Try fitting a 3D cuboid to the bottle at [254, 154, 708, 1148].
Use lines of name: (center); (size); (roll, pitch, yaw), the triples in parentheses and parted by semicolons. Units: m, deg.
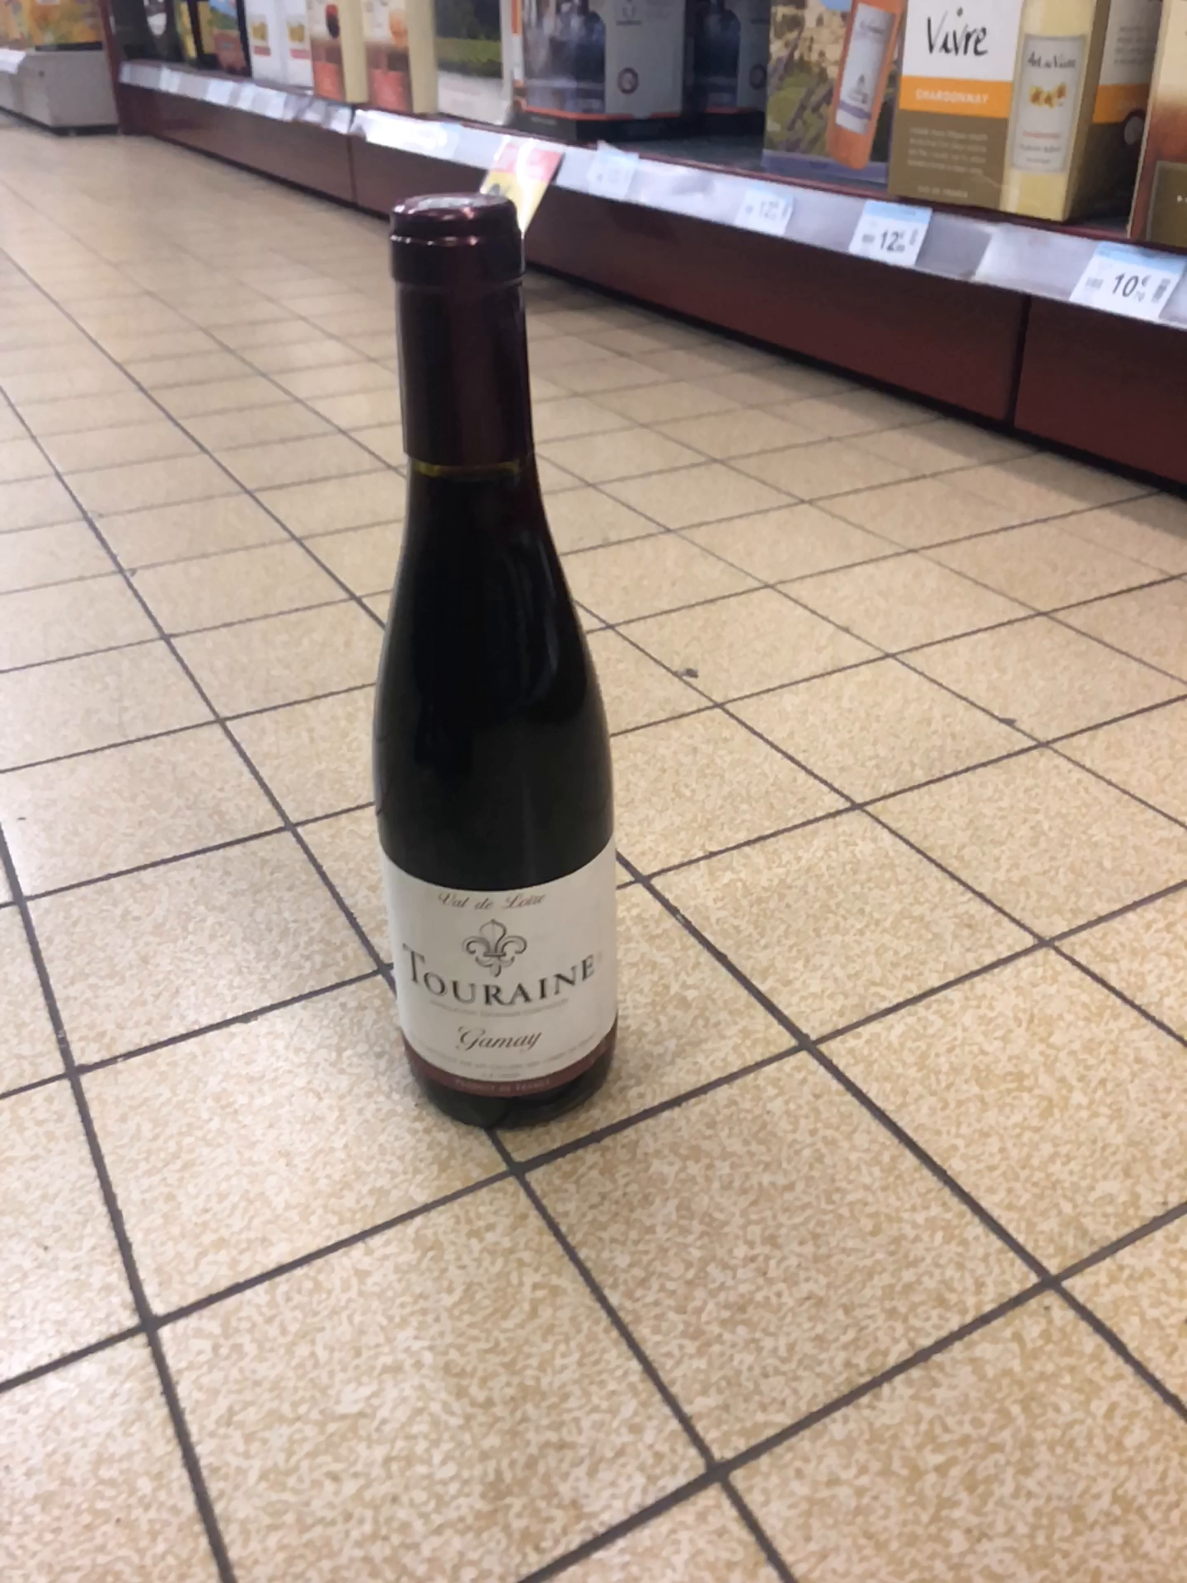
bottle: (-0.018, -0.026, 0.333); (0.080, 0.239, 0.070); (4, 31, 8)
